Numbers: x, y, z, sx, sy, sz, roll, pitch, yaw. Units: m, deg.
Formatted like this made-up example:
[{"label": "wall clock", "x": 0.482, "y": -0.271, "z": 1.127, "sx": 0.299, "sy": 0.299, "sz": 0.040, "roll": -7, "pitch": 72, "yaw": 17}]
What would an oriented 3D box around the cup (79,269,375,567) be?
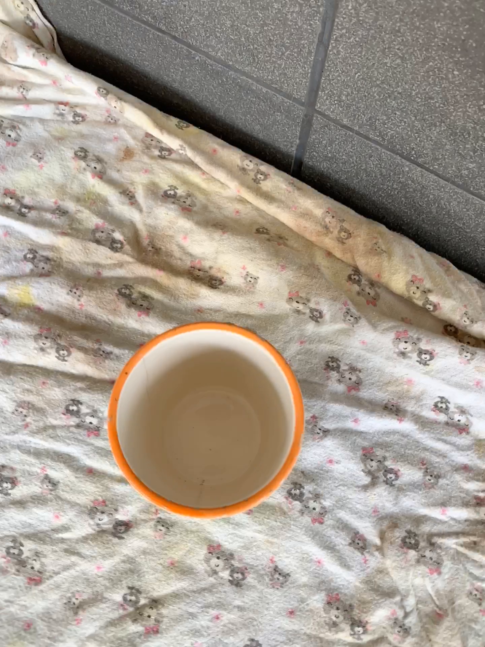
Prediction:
[{"label": "cup", "x": -0.008, "y": 0.045, "z": 0.231, "sx": 0.080, "sy": 0.090, "sz": 0.080, "roll": 1, "pitch": 71, "yaw": -2}]
